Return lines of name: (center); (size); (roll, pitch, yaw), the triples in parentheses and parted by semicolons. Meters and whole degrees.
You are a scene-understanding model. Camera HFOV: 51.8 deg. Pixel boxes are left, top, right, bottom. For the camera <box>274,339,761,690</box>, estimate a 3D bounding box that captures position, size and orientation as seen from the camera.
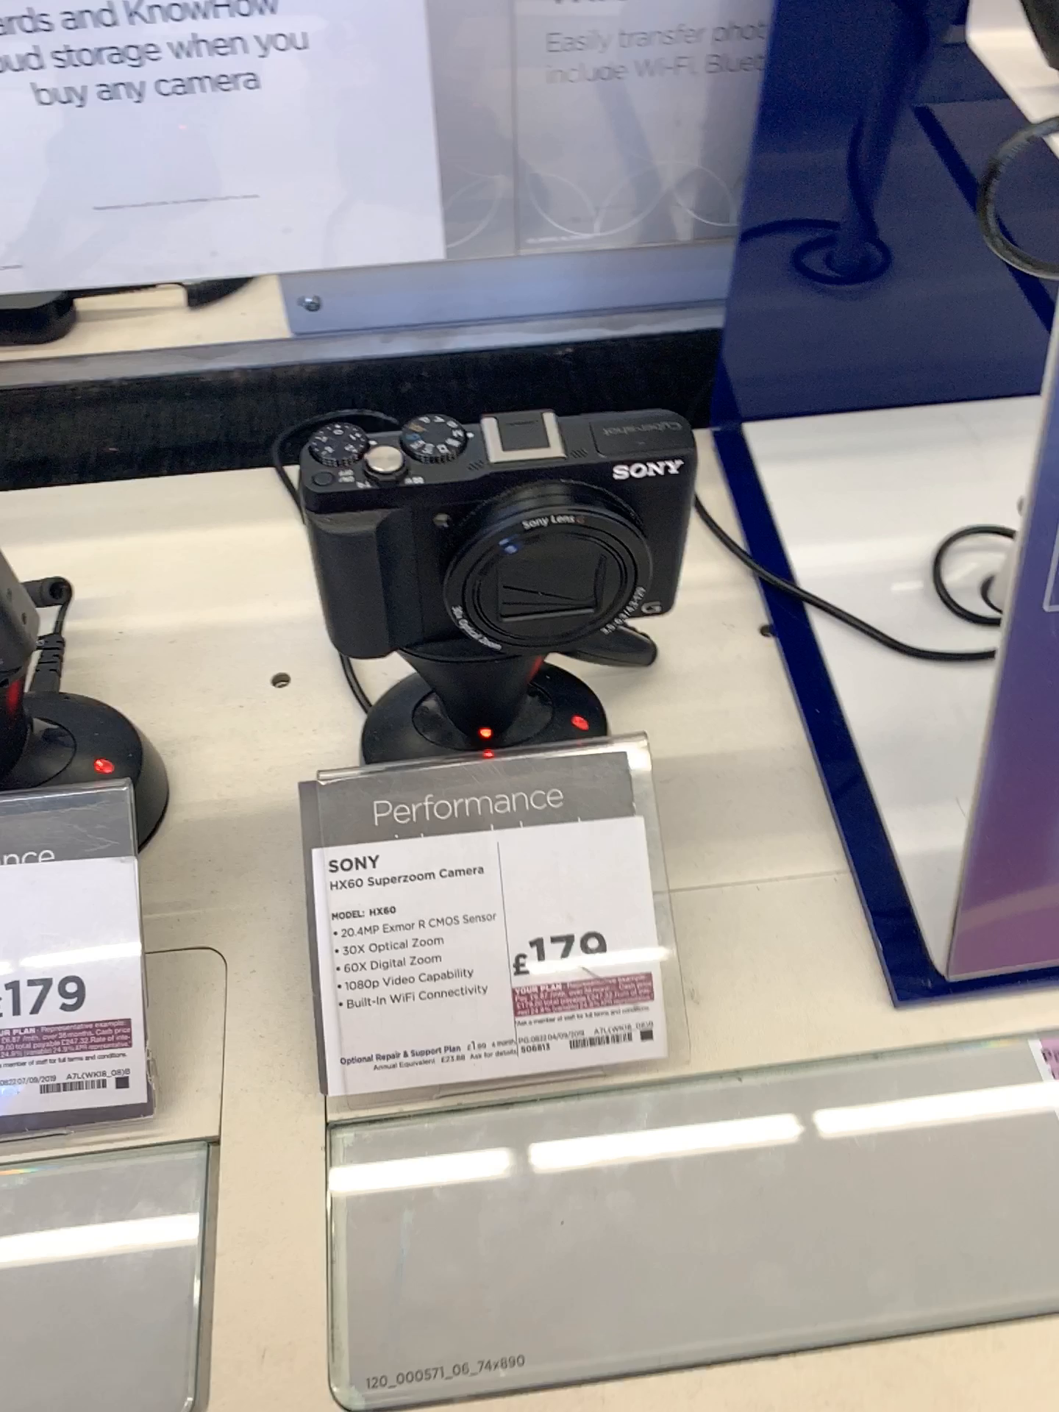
camera: (-0.004, -0.048, 0.285); (0.110, 0.069, 0.040); (-8, 54, -5)
